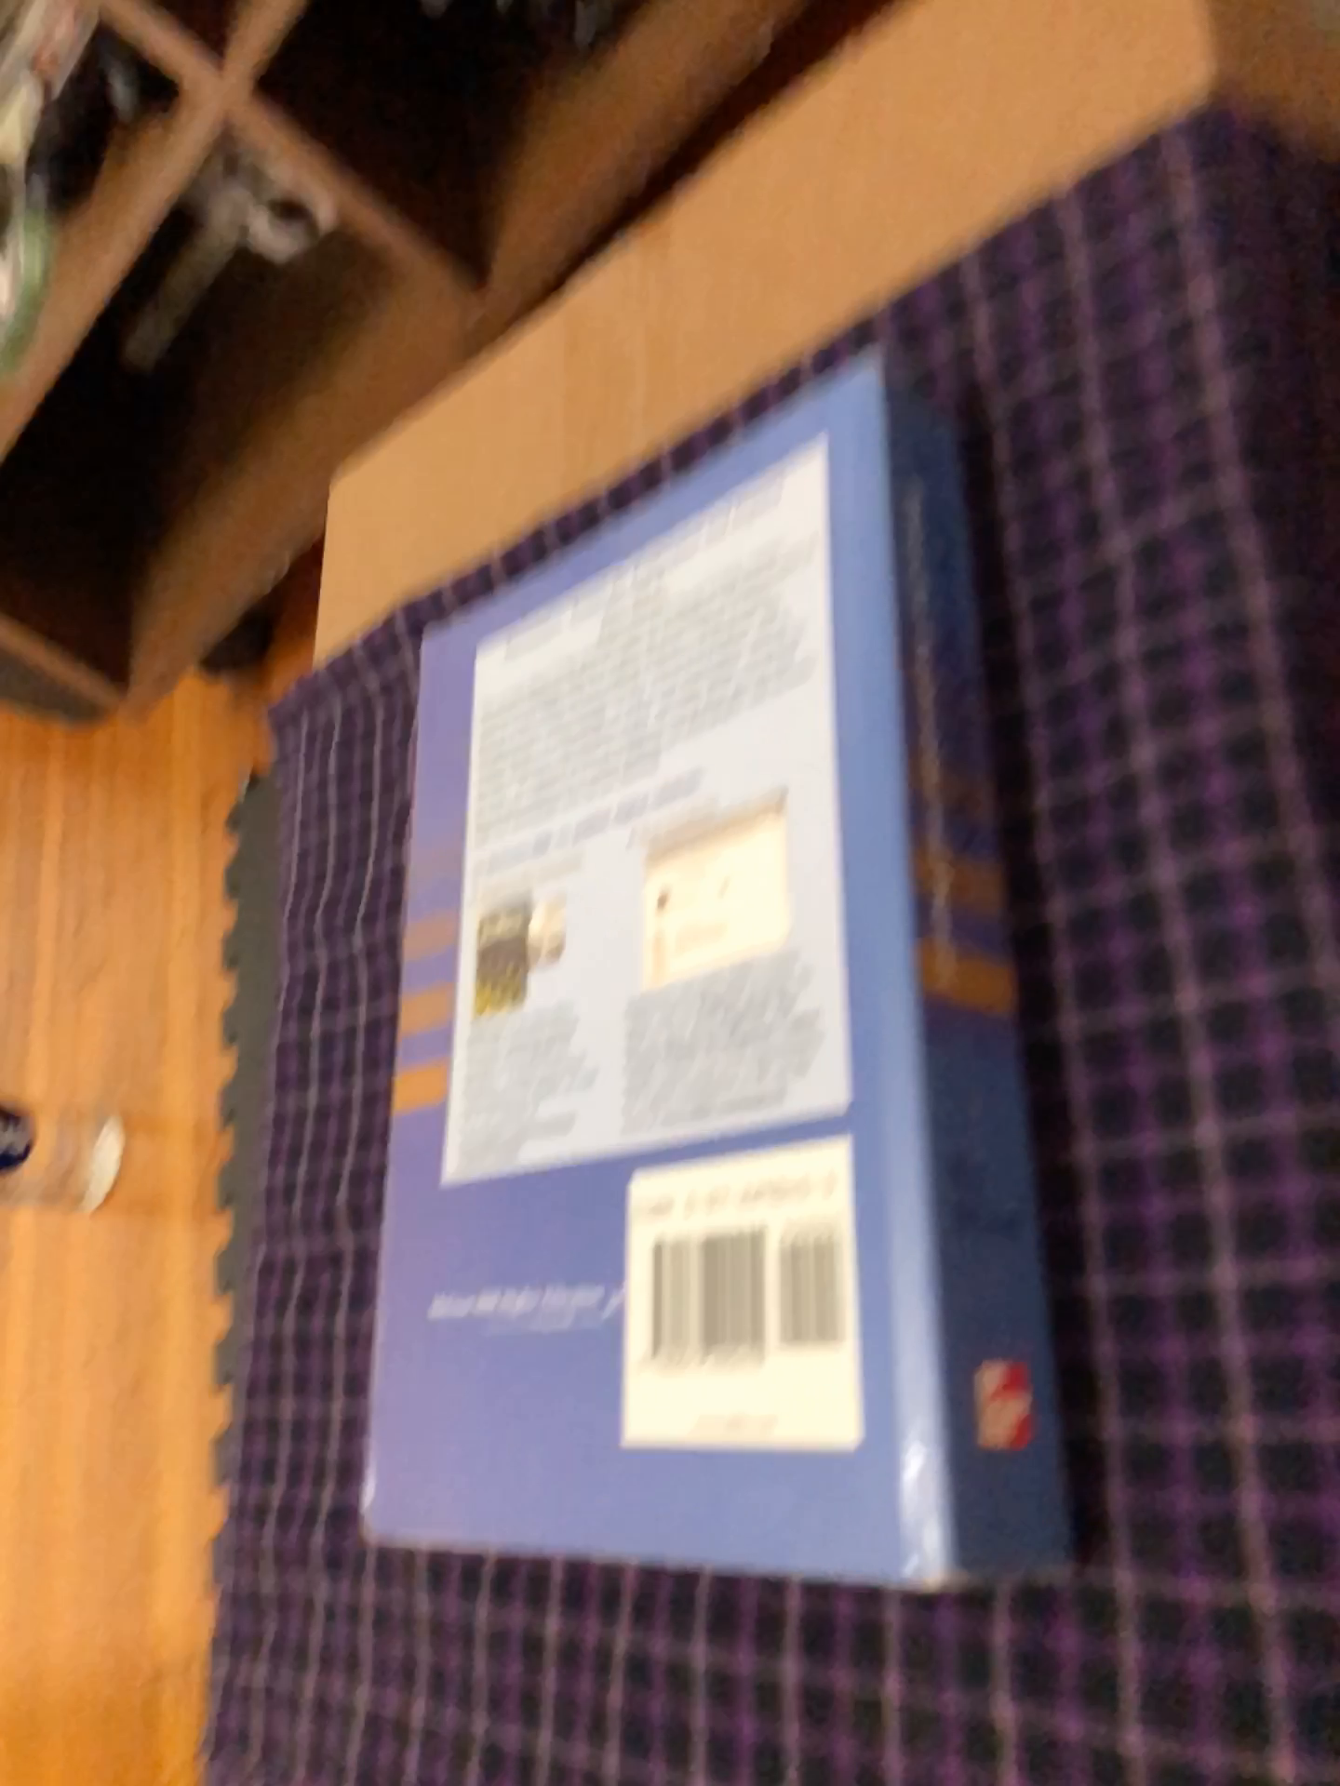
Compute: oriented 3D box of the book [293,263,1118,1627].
[{"bbox_3d":[-0.008,0.017,0.320,0.180,0.040,0.240,-21,61,43],"label":"book"}]
